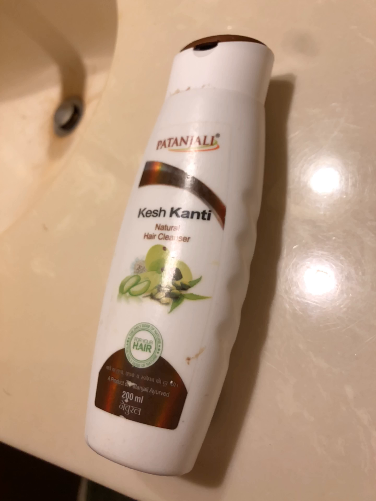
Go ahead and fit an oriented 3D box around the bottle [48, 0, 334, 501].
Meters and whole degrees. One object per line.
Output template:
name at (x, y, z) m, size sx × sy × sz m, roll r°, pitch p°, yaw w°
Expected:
bottle at (0.005, -0.013, 0.188) m, size 0.070 × 0.040 × 0.200 m, roll 7°, pitch 79°, yaw 35°
